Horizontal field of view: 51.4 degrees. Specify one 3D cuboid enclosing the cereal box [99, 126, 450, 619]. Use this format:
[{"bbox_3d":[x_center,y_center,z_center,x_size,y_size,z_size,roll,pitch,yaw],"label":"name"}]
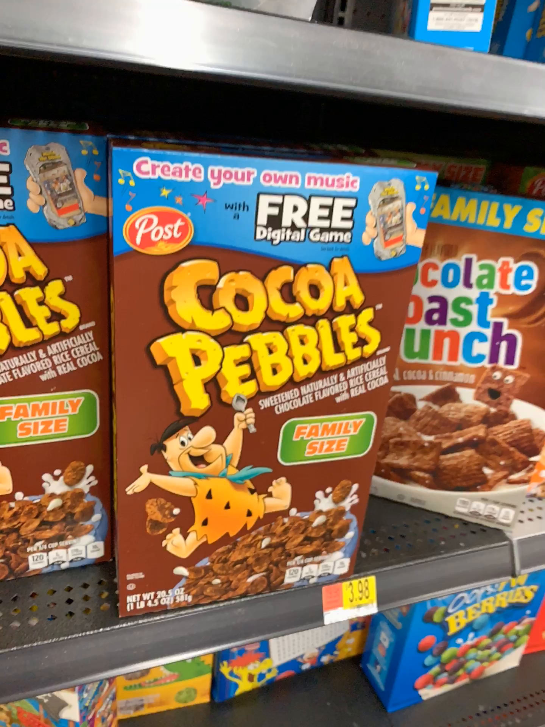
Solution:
[{"bbox_3d":[-0.014,0.020,0.403,0.200,0.329,0.060,-2,26,-19],"label":"cereal box"}]
